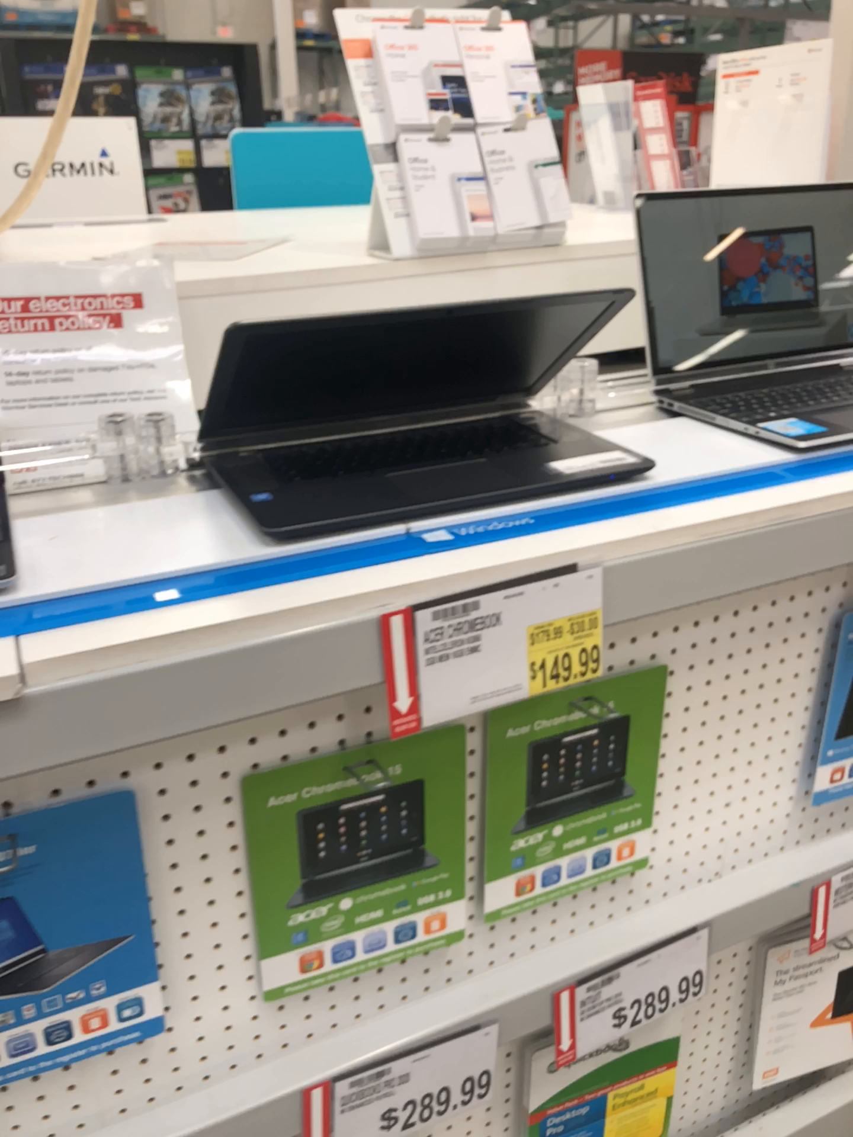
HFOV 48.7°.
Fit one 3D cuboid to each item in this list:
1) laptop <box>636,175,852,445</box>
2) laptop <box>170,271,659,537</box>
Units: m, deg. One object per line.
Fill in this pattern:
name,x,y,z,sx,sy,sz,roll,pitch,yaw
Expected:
laptop,0.447,-0.304,1.035,0.317,0.208,0.292,-11,25,-17
laptop,-0.015,-0.165,0.837,0.364,0.136,0.220,-12,27,-21
